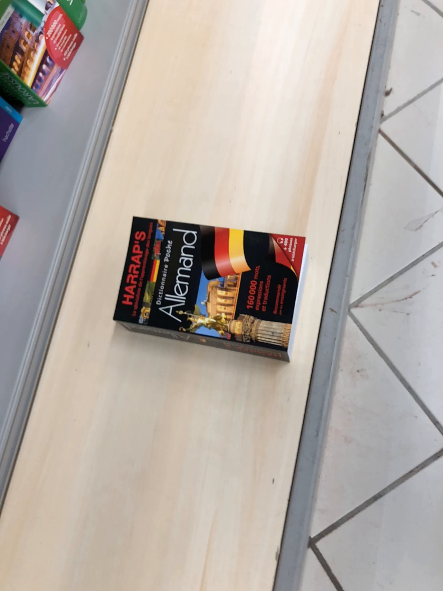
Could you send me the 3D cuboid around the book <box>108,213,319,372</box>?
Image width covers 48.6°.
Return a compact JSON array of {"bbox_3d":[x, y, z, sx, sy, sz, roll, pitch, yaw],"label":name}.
[{"bbox_3d":[-0.003,-0.005,0.487,0.180,0.060,0.122,8,74,14],"label":"book"}]
